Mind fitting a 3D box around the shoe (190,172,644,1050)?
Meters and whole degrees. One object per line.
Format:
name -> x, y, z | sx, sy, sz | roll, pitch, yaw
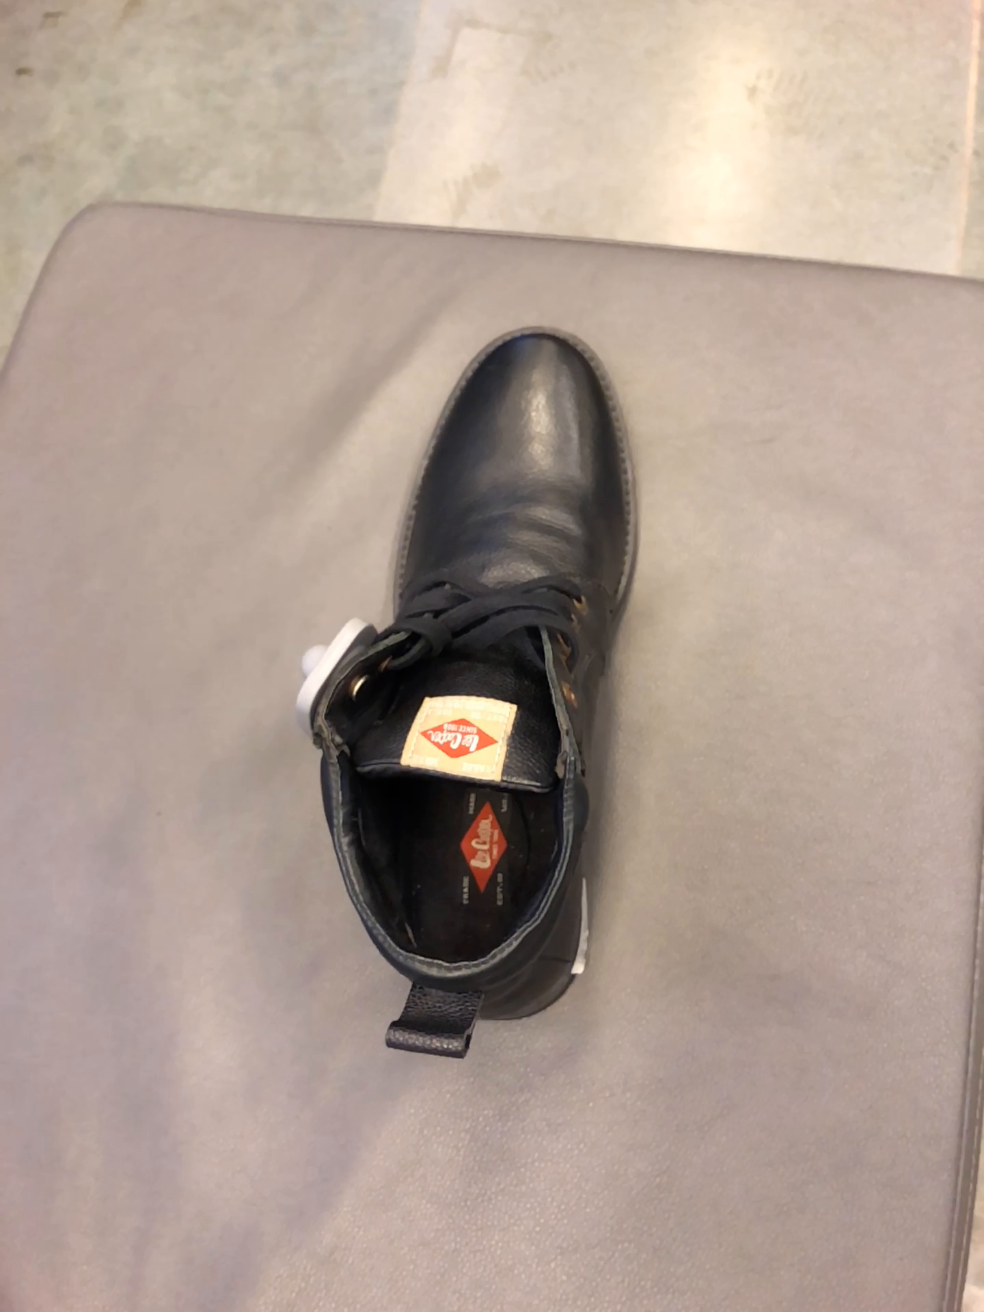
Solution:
shoe -> -0.007, -0.011, 0.412 | 0.111, 0.149, 0.284 | 3, 73, 9
